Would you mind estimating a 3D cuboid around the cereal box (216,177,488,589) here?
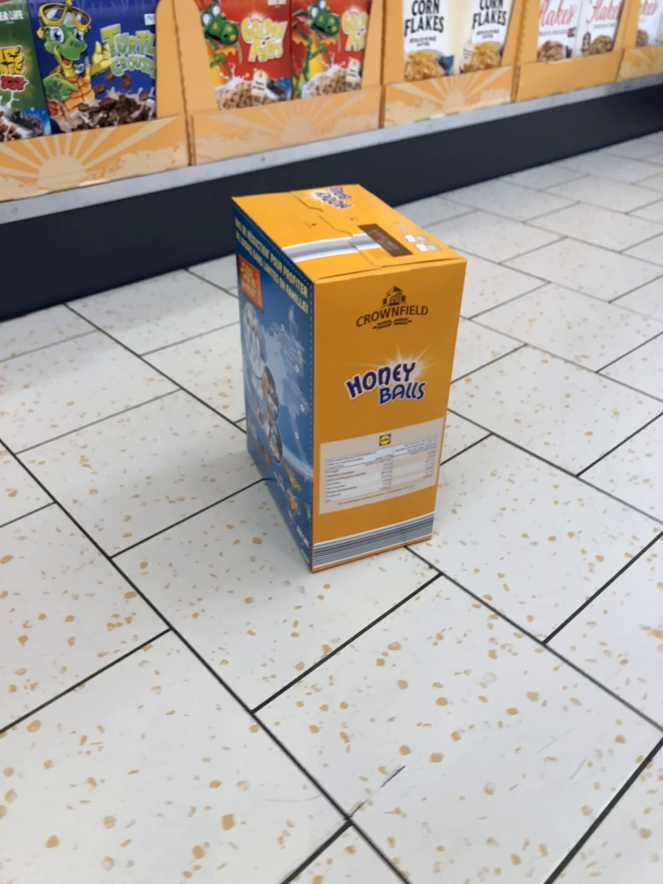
[{"bbox_3d":[0.003,-0.058,0.616,0.130,0.258,0.211,-12,36,-18],"label":"cereal box"}]
